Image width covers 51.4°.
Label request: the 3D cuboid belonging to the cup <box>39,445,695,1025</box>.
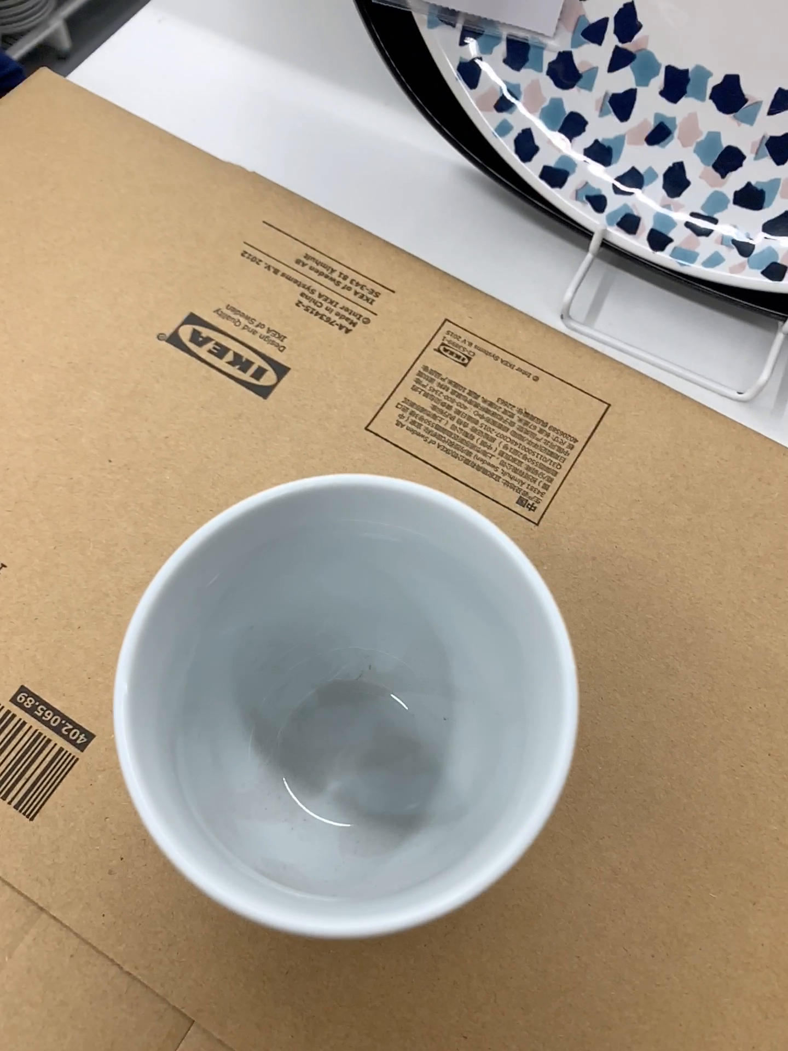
[{"bbox_3d":[-0.006,0.041,0.153,0.080,0.080,0.080,2,64,-4],"label":"cup"}]
